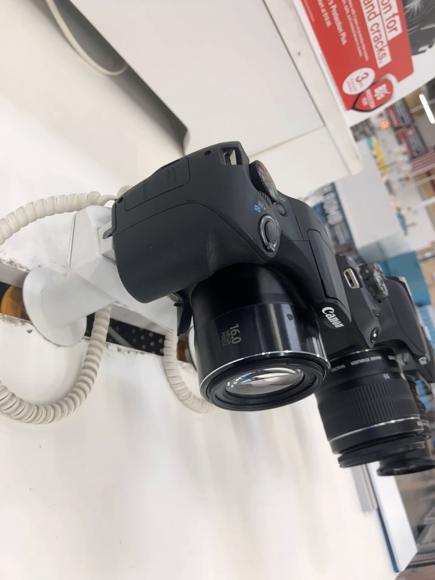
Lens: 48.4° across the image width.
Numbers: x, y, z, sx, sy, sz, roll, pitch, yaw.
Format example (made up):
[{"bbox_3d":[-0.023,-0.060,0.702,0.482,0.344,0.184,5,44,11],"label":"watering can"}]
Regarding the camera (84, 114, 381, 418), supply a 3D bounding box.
[{"bbox_3d":[0.012,0.002,0.238,0.120,0.090,0.080,40,36,-52],"label":"camera"}]
